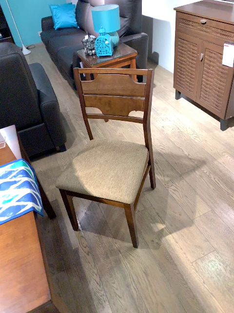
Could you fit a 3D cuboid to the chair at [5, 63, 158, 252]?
[{"bbox_3d":[-0.076,0.011,1.308,0.471,0.827,0.532,9,45,20],"label":"chair"}]
